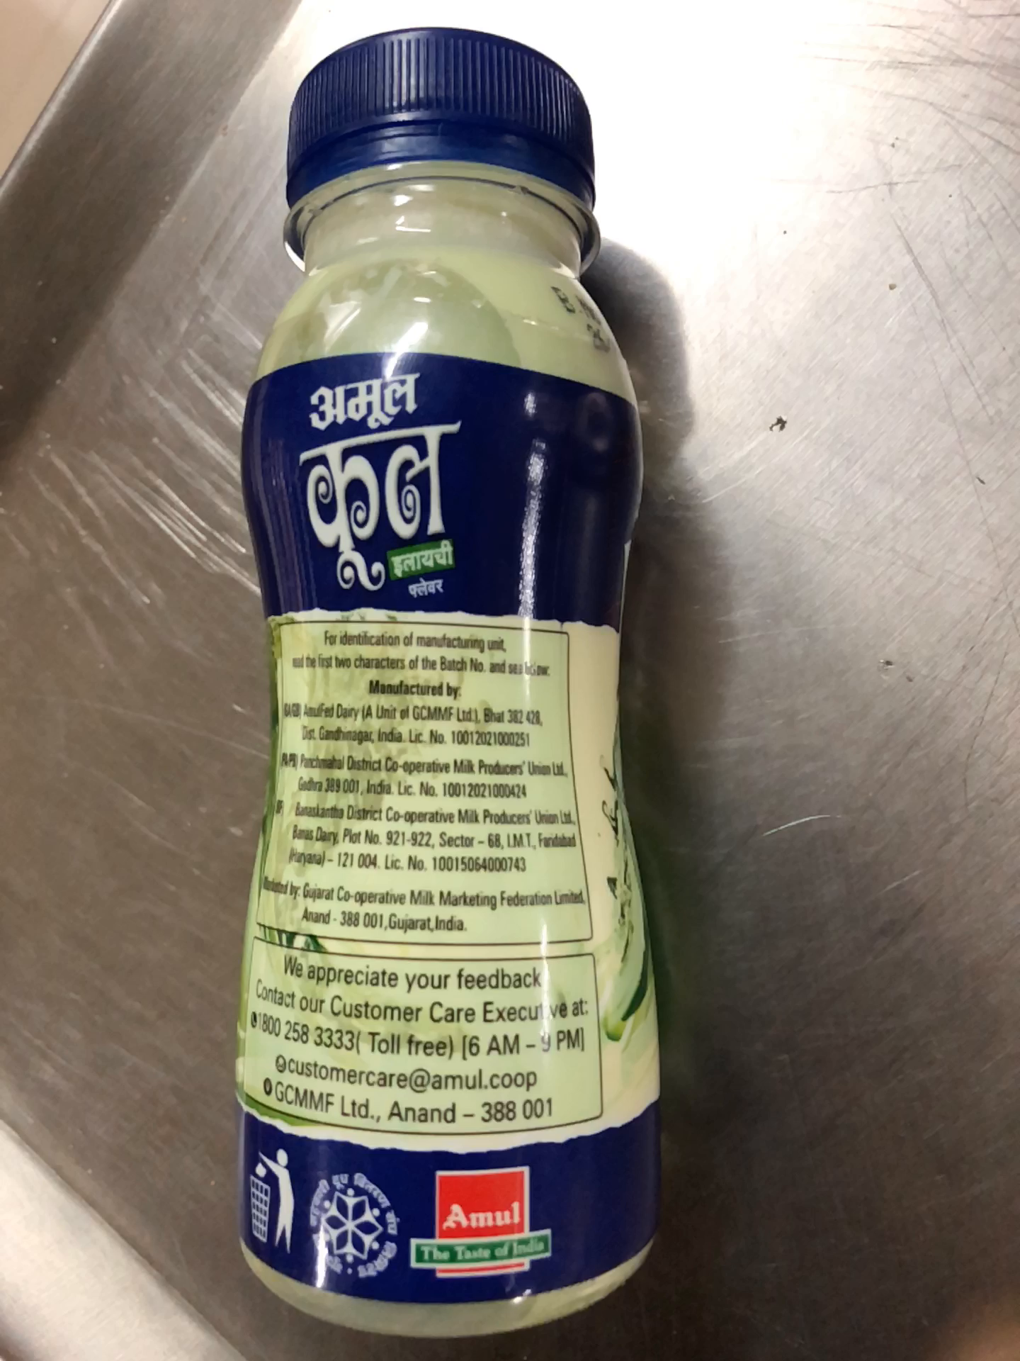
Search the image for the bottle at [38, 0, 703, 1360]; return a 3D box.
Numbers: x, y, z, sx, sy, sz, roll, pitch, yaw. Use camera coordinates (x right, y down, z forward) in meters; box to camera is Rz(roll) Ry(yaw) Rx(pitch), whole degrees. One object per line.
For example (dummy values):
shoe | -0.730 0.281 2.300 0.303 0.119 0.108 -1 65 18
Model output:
bottle | -0.010 -0.002 0.115 0.050 0.040 0.150 -1 86 19
